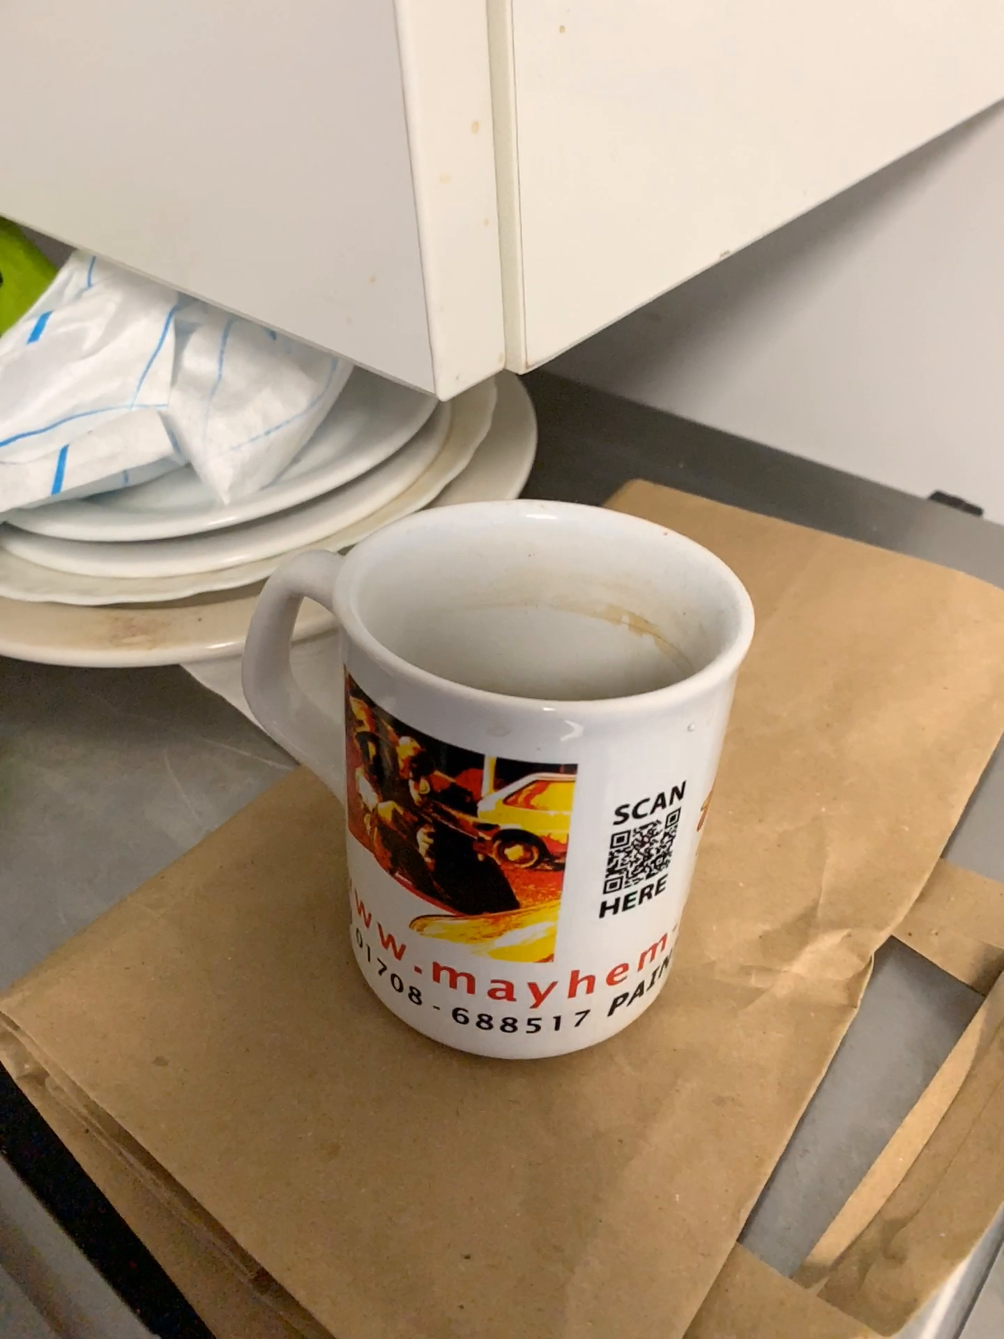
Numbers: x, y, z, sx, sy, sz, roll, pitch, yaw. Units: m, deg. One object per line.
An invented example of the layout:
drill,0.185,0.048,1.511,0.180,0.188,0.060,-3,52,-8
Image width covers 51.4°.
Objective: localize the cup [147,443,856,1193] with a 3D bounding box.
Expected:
cup,-0.002,0.020,0.211,0.100,0.088,0.078,26,39,29
